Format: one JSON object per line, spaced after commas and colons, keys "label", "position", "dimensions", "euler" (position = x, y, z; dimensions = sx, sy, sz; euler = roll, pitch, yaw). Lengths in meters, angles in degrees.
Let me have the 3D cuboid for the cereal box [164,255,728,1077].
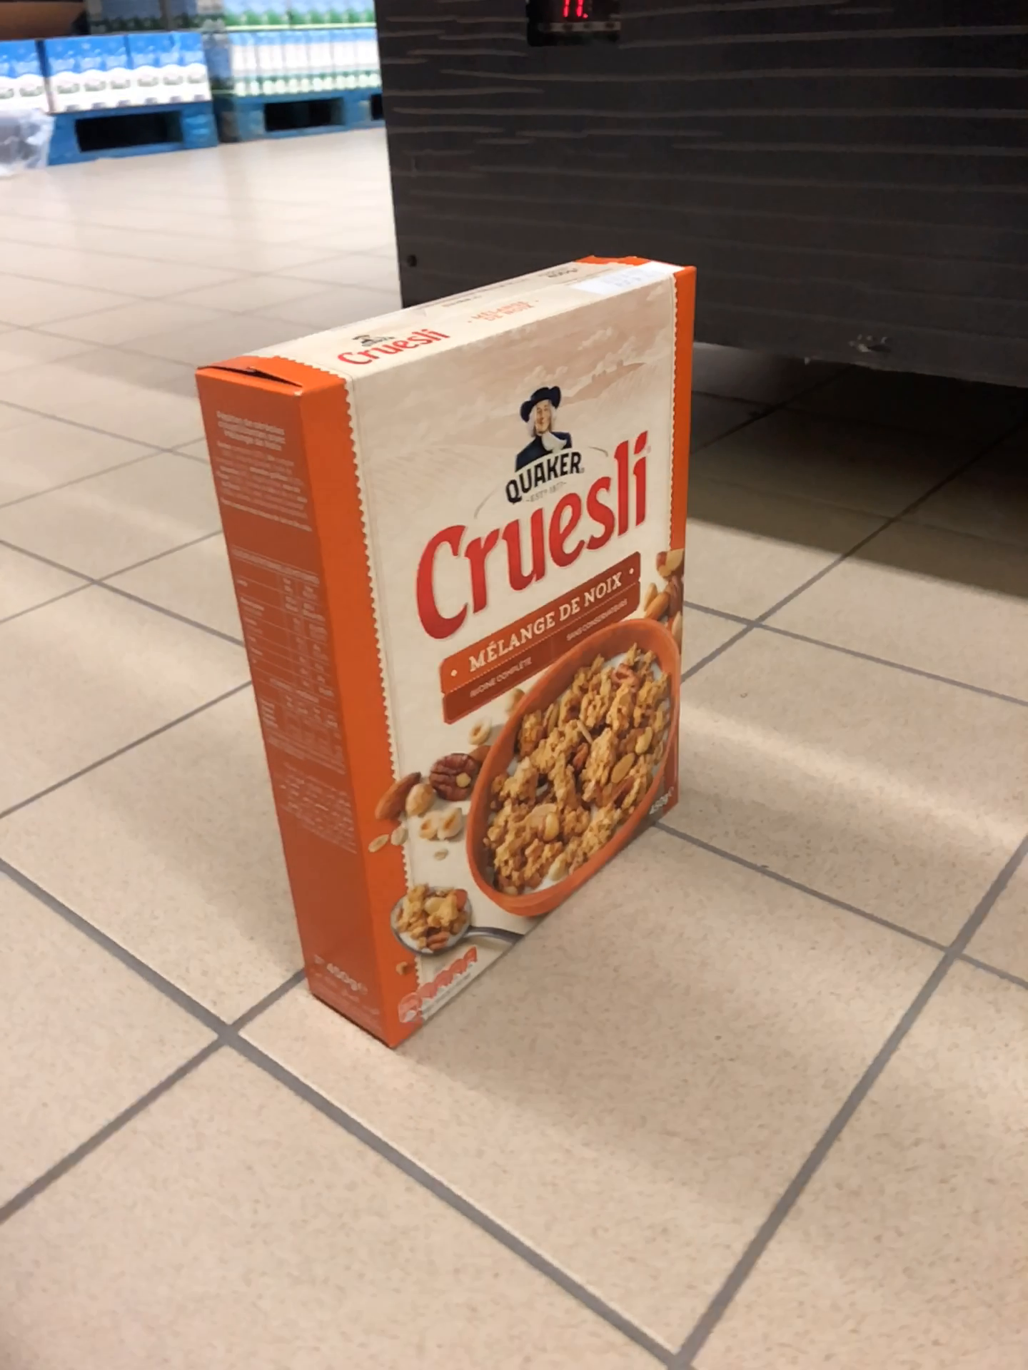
{"label": "cereal box", "position": [-0.006, -0.015, 0.430], "dimensions": [0.060, 0.249, 0.201], "euler": [22, 37, 37]}
